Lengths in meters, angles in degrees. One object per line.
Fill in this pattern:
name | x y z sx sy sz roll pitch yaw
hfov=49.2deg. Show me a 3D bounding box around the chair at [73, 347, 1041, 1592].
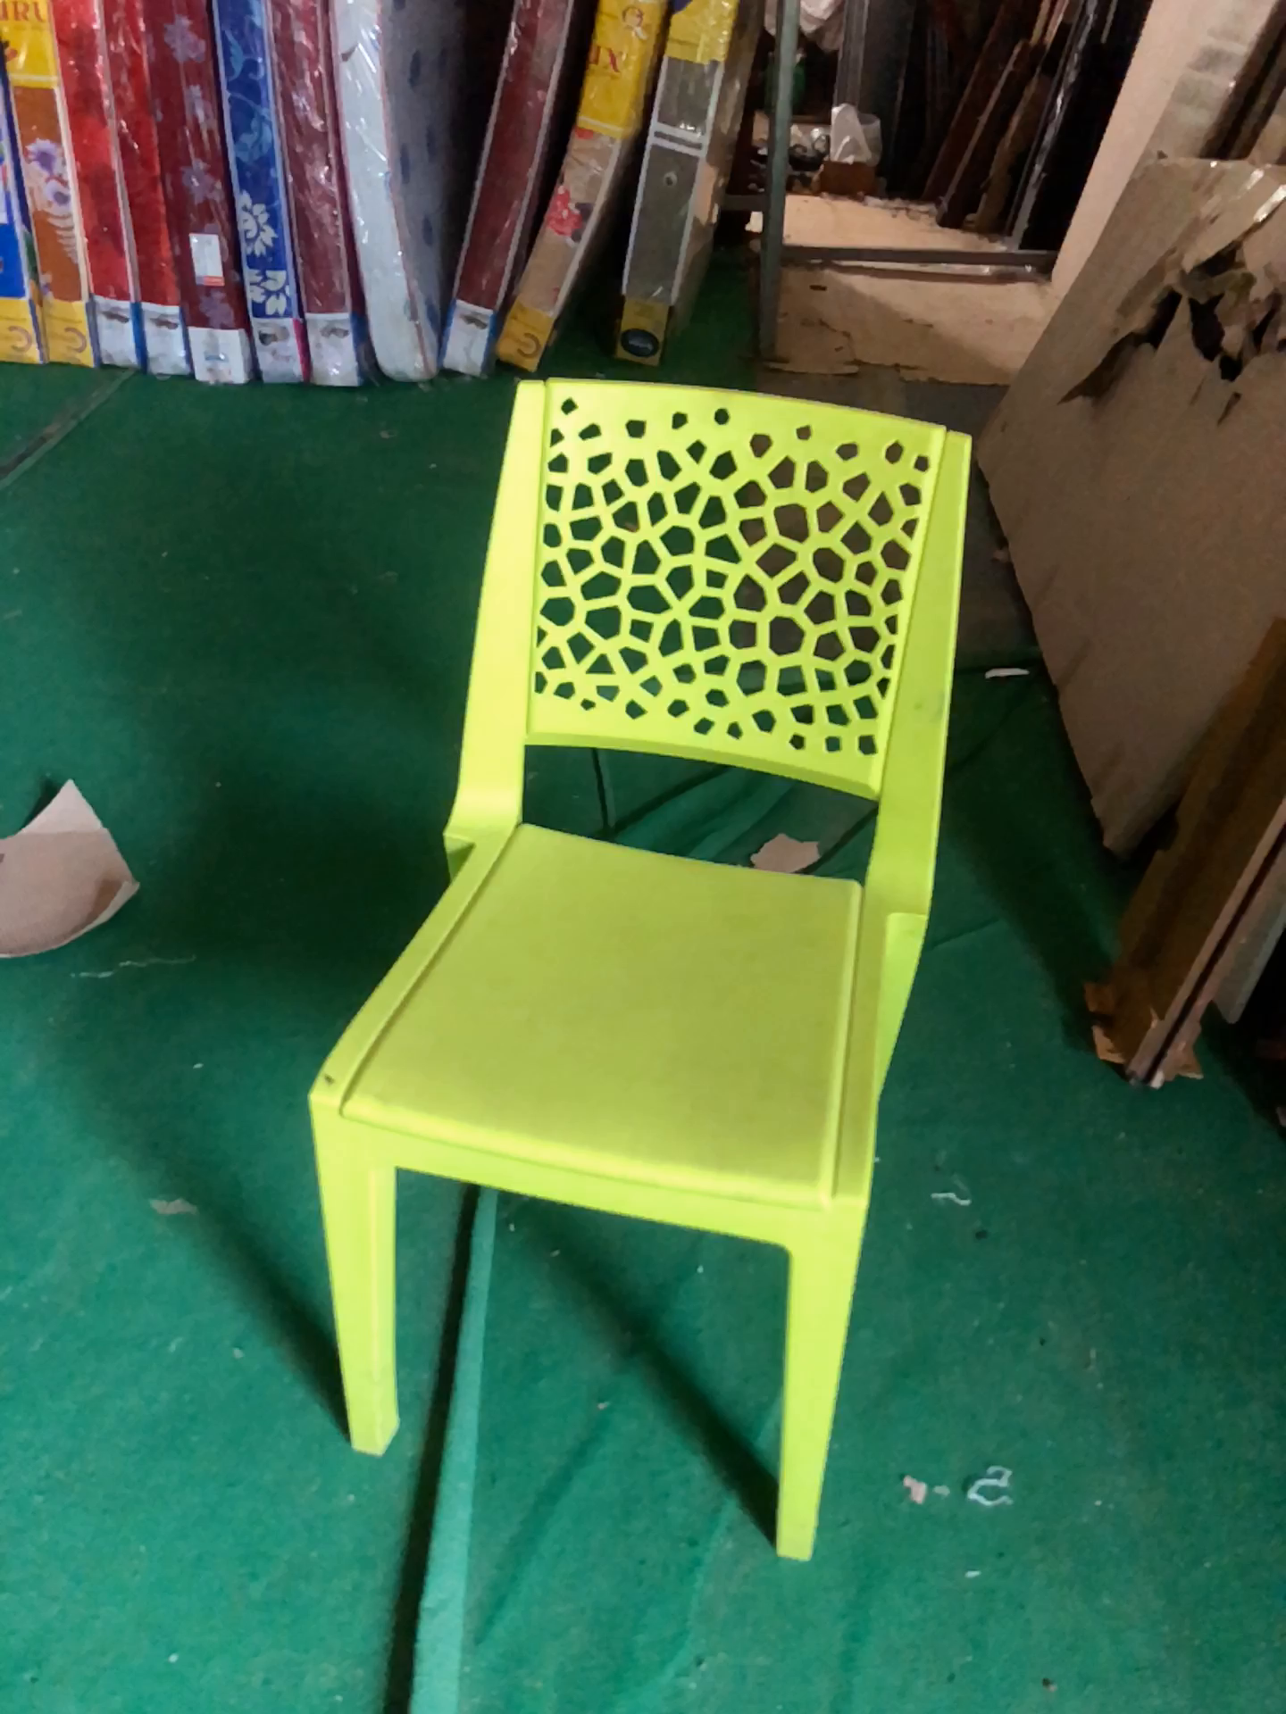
chair | 0.002 0.056 1.226 0.530 0.776 0.644 9 34 11
